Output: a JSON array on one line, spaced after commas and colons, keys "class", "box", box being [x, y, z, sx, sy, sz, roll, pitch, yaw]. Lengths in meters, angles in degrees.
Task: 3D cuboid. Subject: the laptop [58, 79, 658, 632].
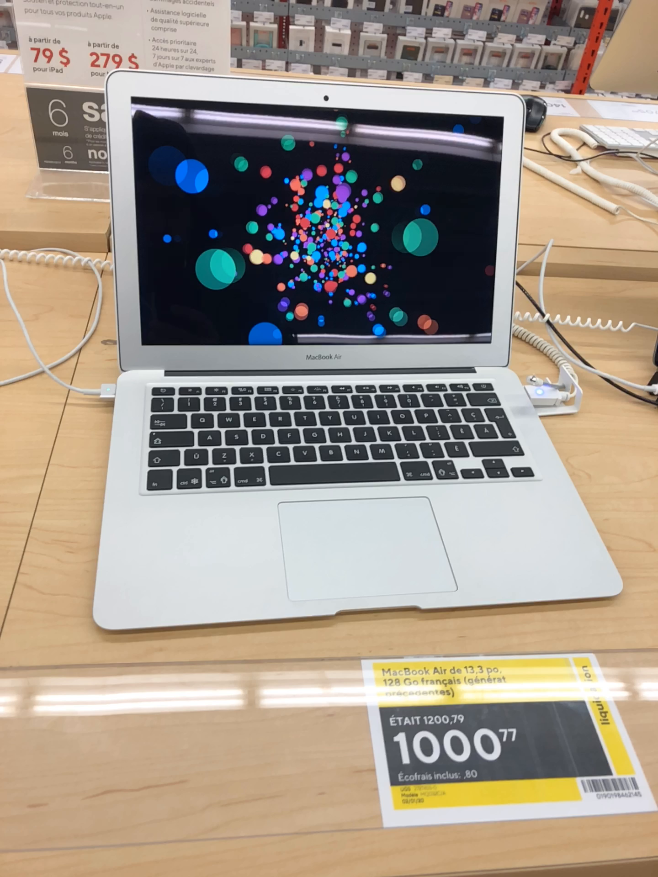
[{"class": "laptop", "box": [0.017, -0.079, 0.473, 0.305, 0.186, 0.326, -2, 41, -12]}]
